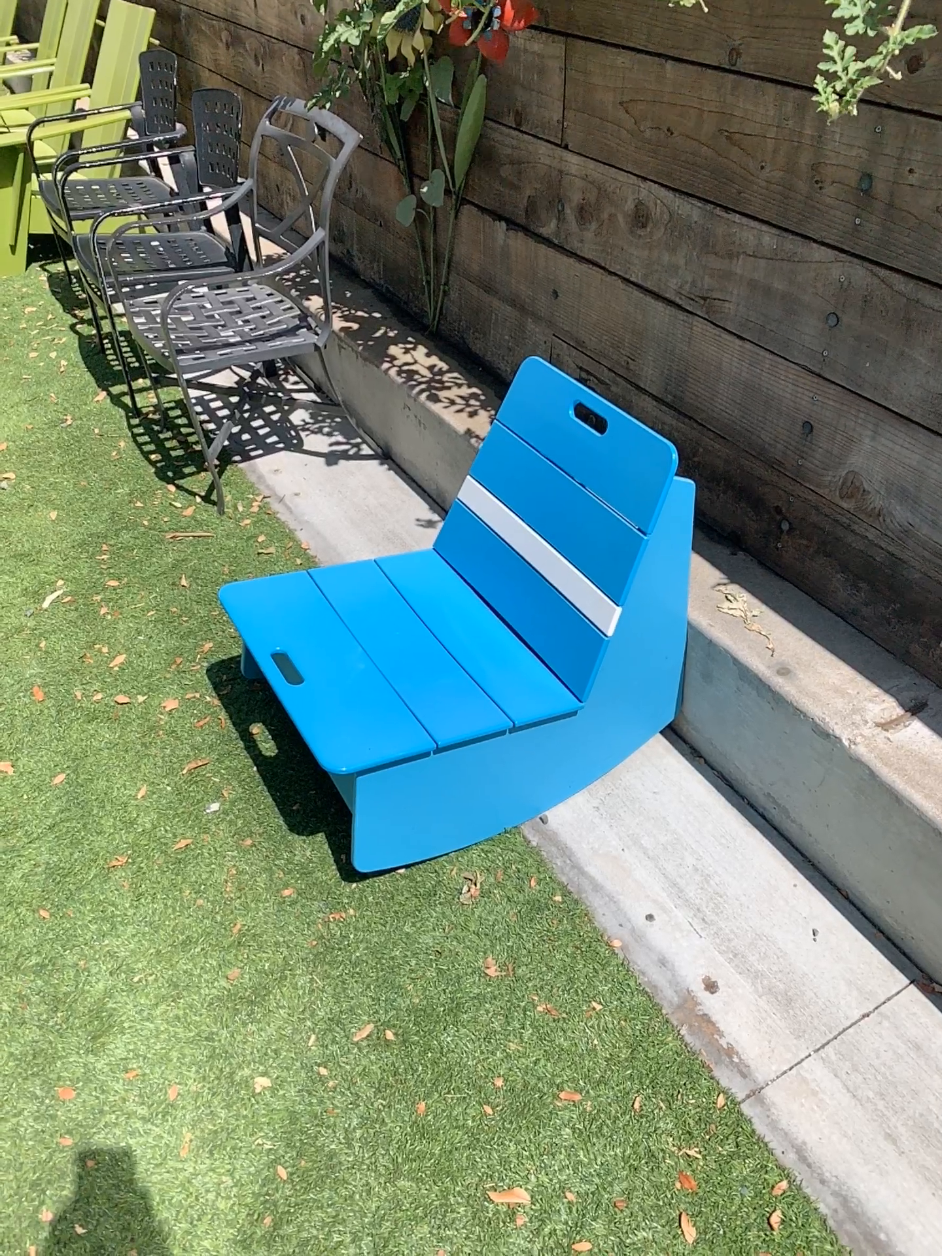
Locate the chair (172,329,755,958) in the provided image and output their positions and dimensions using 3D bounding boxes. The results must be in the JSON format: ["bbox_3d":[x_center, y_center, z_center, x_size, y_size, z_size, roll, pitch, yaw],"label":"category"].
[{"bbox_3d":[-0.024,0.000,1.738,0.720,0.745,0.593,-20,43,-19],"label":"chair"}]
